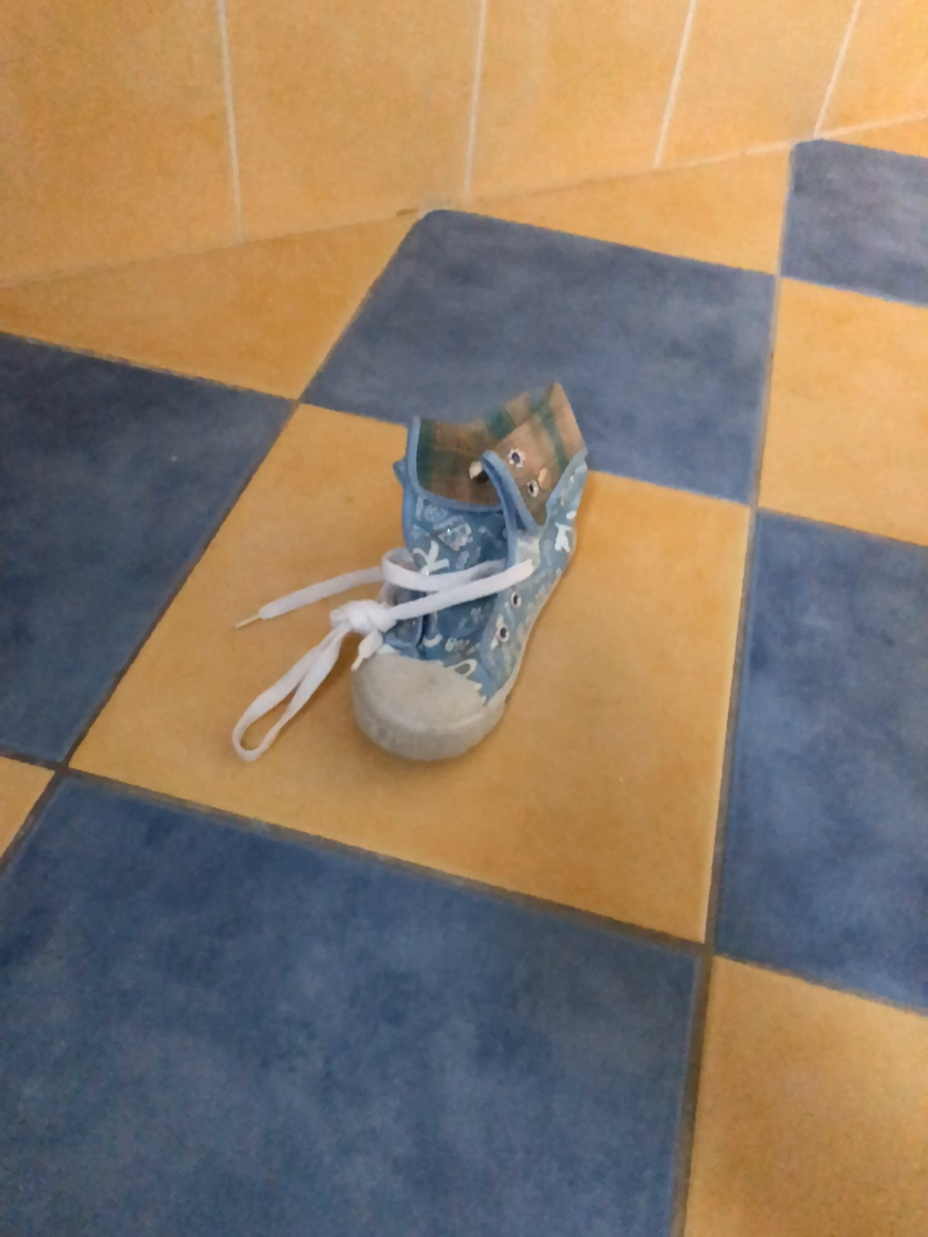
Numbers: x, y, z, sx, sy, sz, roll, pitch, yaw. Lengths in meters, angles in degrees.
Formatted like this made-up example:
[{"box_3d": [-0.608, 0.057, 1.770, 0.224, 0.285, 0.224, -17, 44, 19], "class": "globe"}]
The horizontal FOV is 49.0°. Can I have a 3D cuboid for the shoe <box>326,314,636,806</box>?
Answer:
[{"box_3d": [0.012, -0.035, 0.491, 0.080, 0.119, 0.201, 16, 48, 9], "class": "shoe"}]
